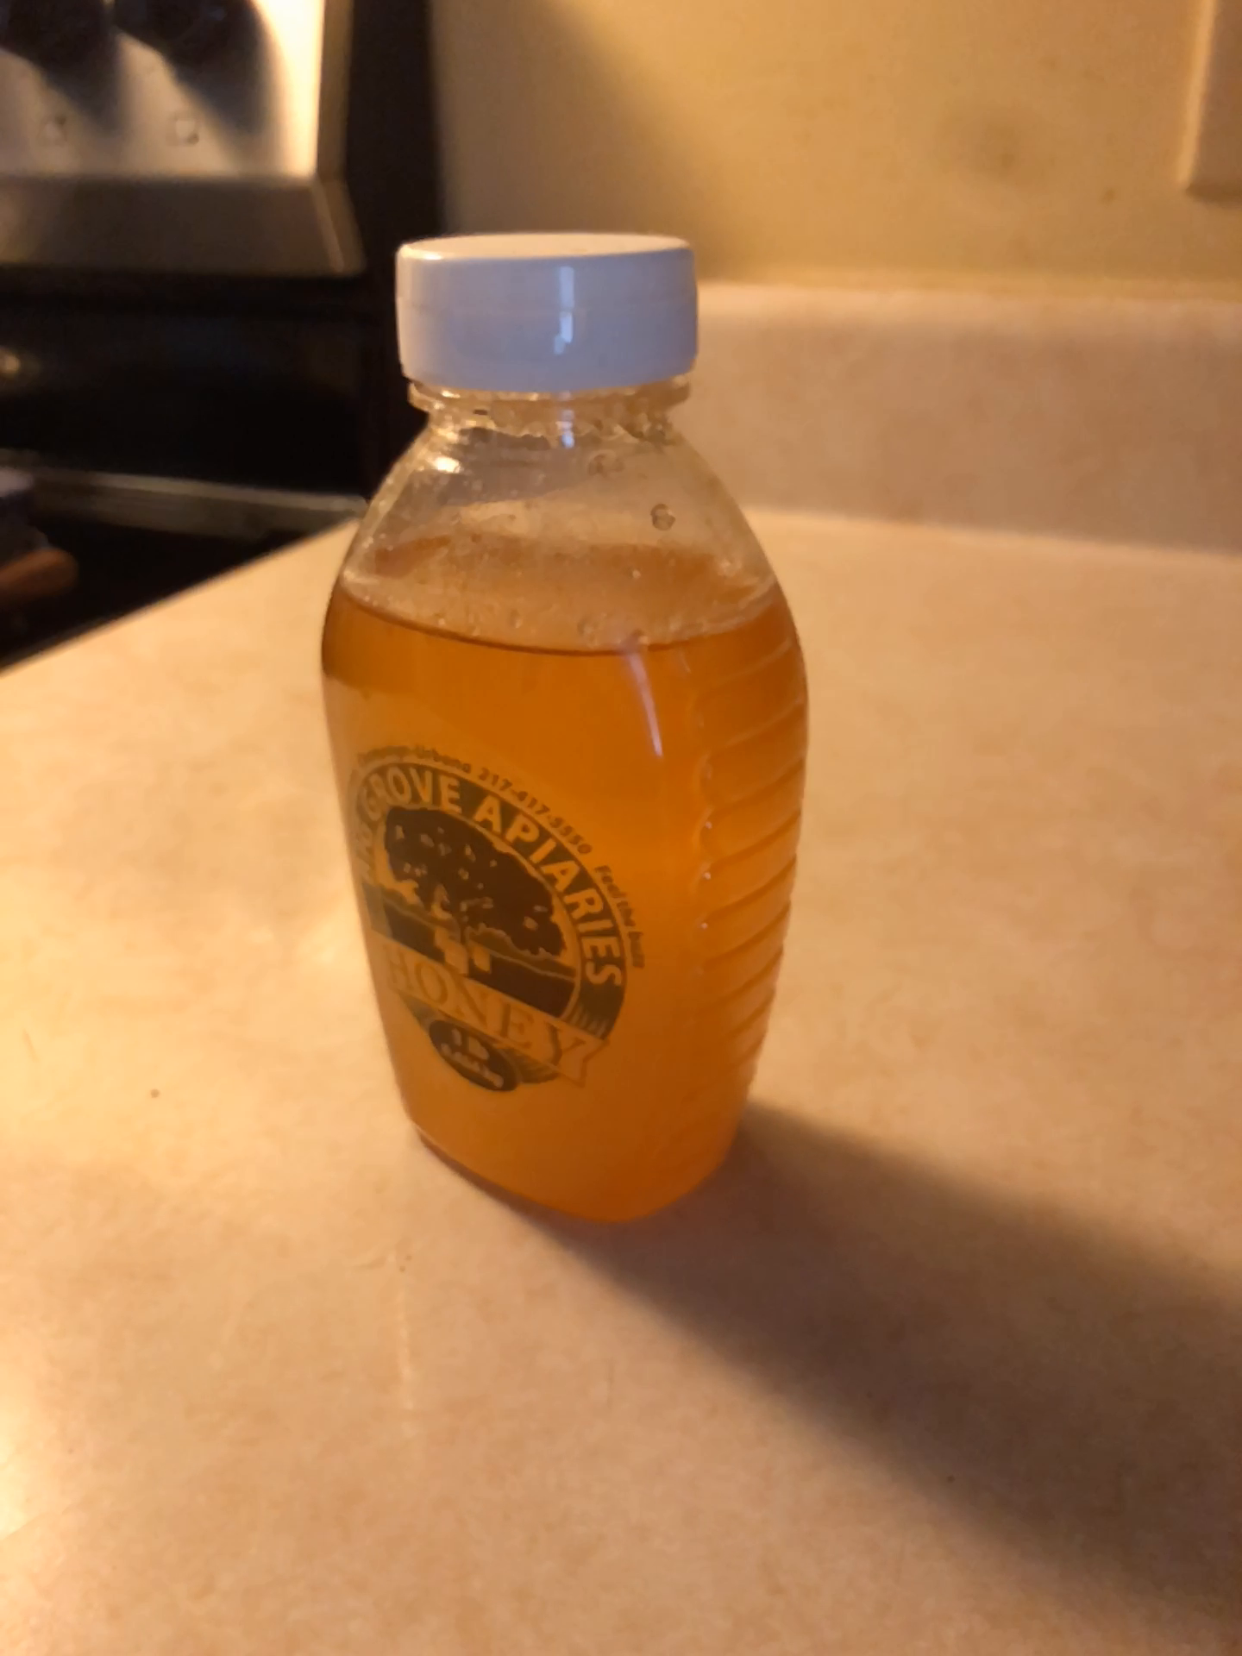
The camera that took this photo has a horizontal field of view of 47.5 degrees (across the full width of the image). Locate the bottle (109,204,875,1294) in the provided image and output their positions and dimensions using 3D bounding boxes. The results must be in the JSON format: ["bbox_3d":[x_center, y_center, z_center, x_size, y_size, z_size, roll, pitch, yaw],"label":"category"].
[{"bbox_3d":[-0.016,-0.017,0.214,0.080,0.140,0.060,16,30,32],"label":"bottle"}]
